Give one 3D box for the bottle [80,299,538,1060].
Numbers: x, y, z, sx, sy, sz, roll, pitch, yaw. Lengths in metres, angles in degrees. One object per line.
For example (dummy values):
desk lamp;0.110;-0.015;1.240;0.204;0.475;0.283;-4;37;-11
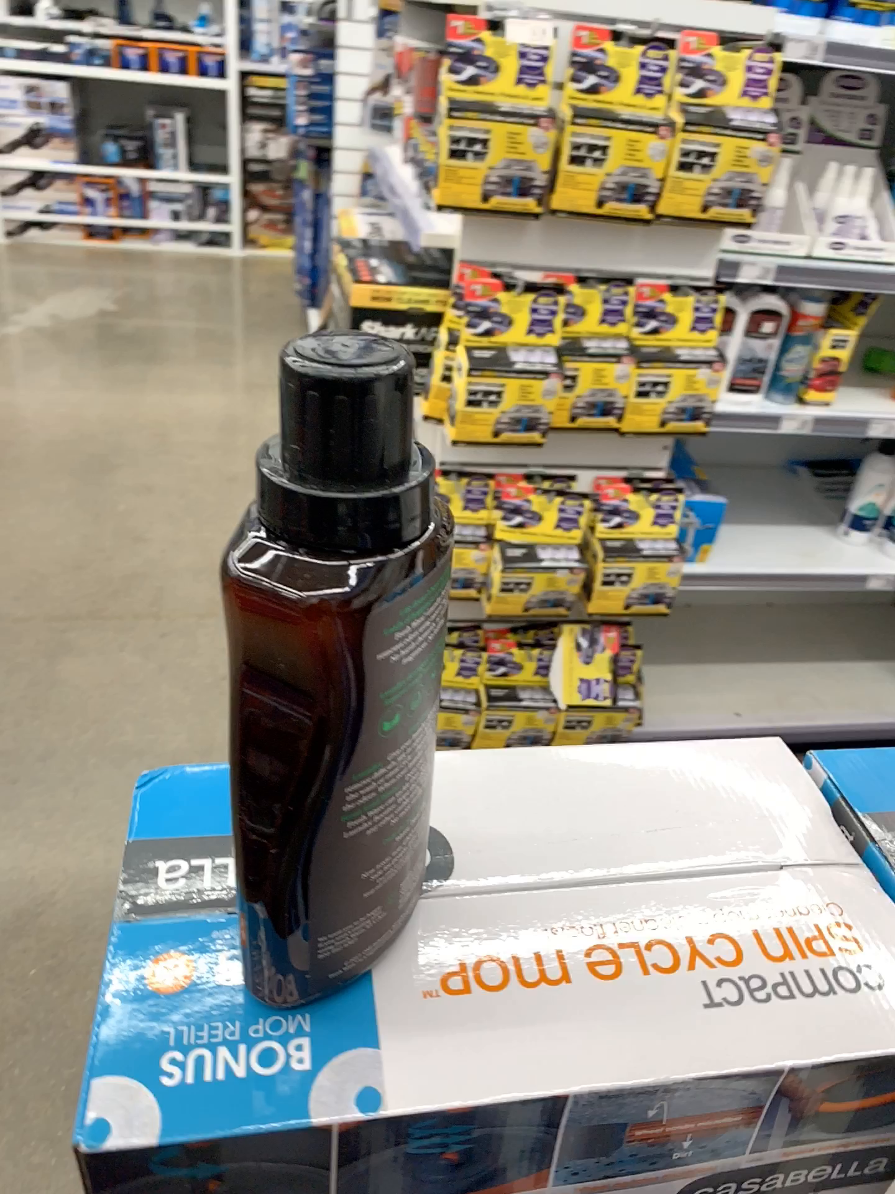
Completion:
bottle;-0.040;0.028;0.293;0.070;0.209;0.100;22;35;23
